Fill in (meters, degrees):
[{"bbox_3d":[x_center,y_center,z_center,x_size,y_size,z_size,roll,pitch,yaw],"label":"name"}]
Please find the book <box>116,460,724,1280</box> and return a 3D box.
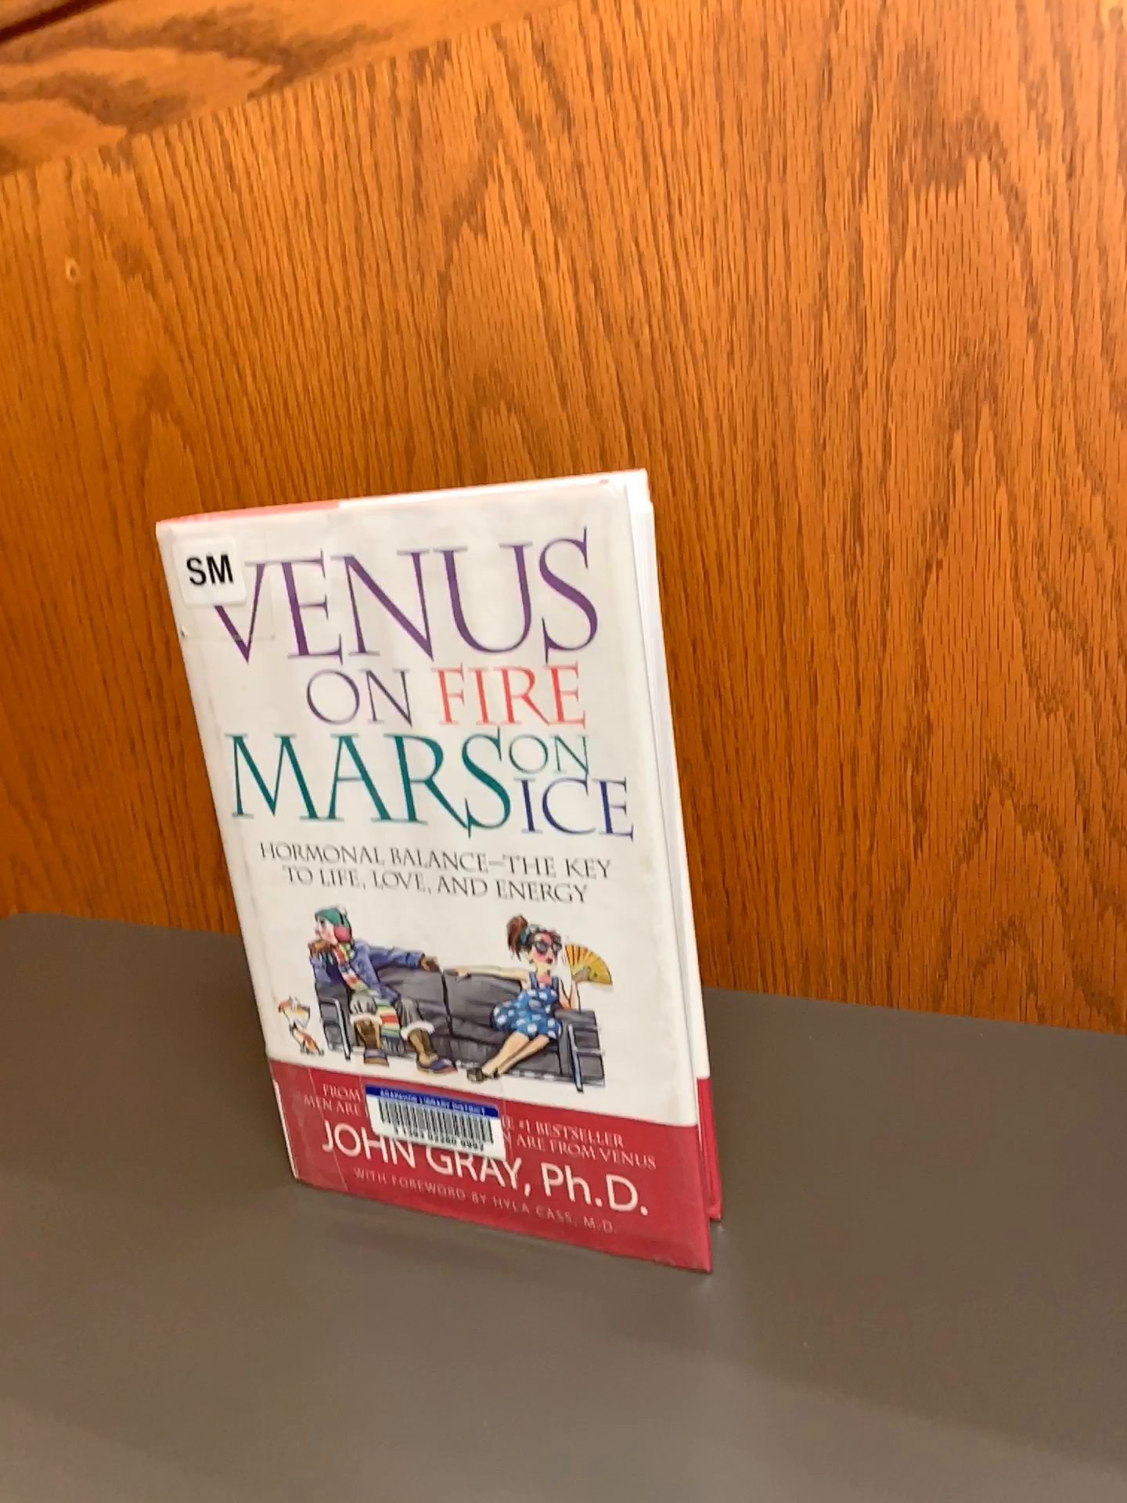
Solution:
[{"bbox_3d":[-0.041,0.036,0.344,0.154,0.220,0.033,0,16,27],"label":"book"}]
